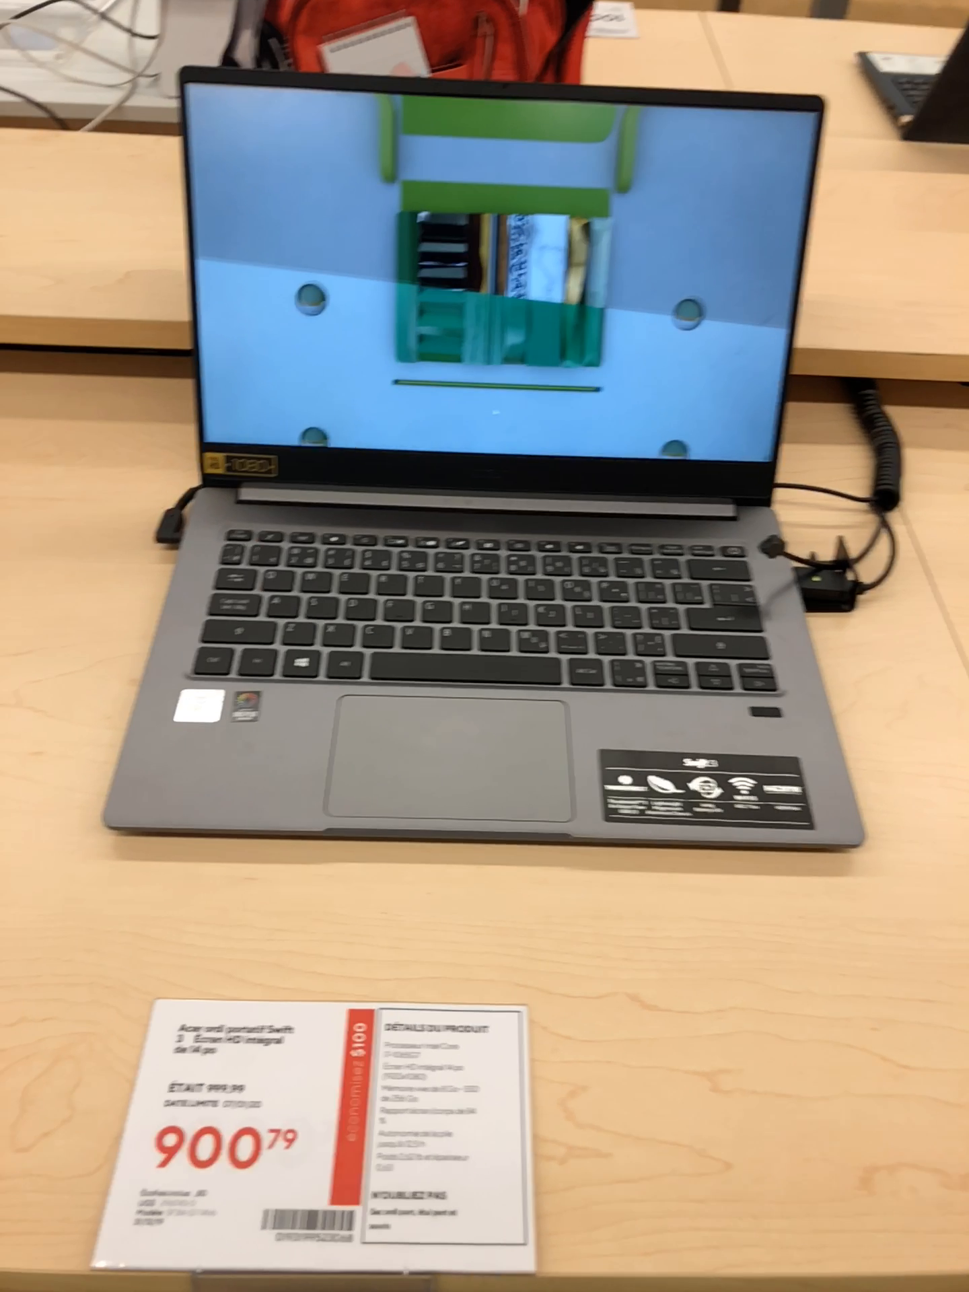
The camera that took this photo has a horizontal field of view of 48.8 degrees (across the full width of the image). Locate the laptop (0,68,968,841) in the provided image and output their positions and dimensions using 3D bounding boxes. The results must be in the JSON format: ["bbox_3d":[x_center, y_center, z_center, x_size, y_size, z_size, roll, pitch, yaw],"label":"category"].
[{"bbox_3d":[0.007,-0.098,0.482,0.315,0.177,0.313,2,48,-2],"label":"laptop"}]
